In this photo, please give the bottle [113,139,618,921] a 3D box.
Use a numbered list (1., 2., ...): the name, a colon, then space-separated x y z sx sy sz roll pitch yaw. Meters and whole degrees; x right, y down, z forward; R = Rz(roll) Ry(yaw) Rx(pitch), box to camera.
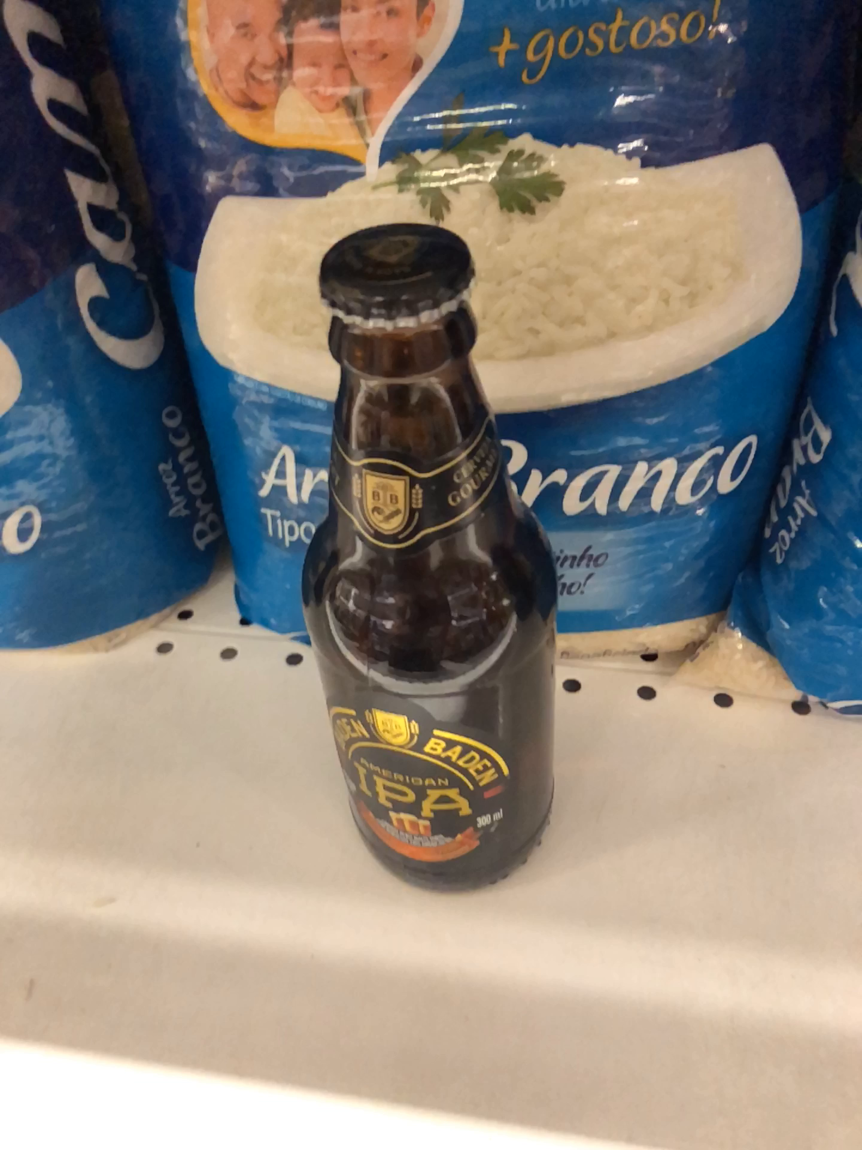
1. bottle: -0.002 0.005 0.232 0.070 0.189 0.060 11 48 15
